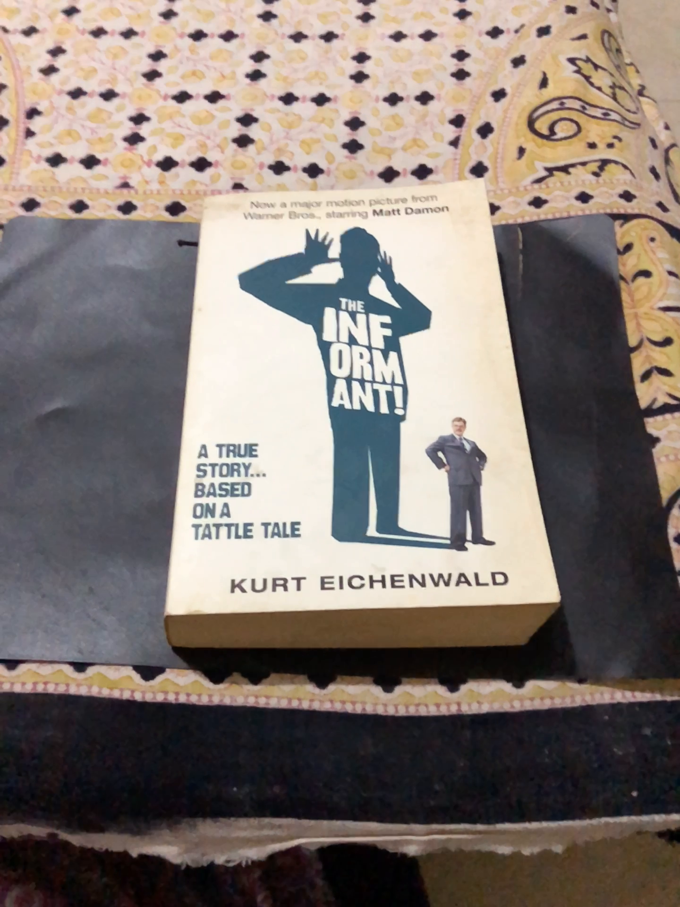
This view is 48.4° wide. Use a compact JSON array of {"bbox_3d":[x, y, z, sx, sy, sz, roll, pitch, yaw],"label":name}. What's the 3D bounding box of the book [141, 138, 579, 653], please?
[{"bbox_3d":[0.005,-0.038,0.323,0.140,0.050,0.230,-1,59,-1],"label":"book"}]
